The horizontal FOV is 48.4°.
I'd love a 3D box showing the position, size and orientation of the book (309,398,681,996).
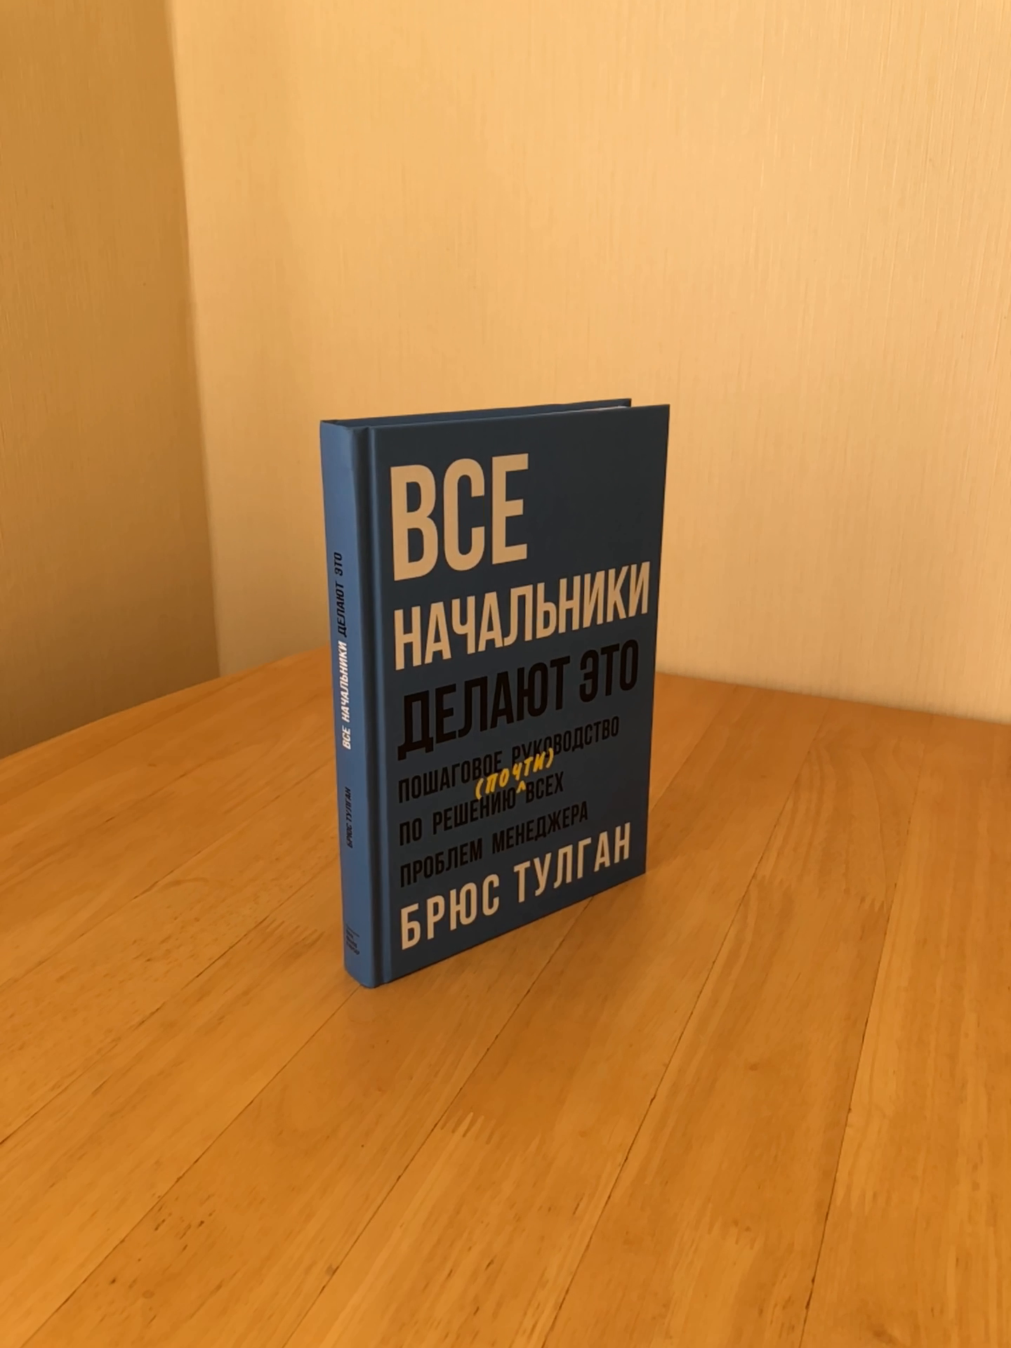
[{"bbox_3d":[0.001,0.003,0.438,0.150,0.208,0.025,-13,23,-36],"label":"book"}]
